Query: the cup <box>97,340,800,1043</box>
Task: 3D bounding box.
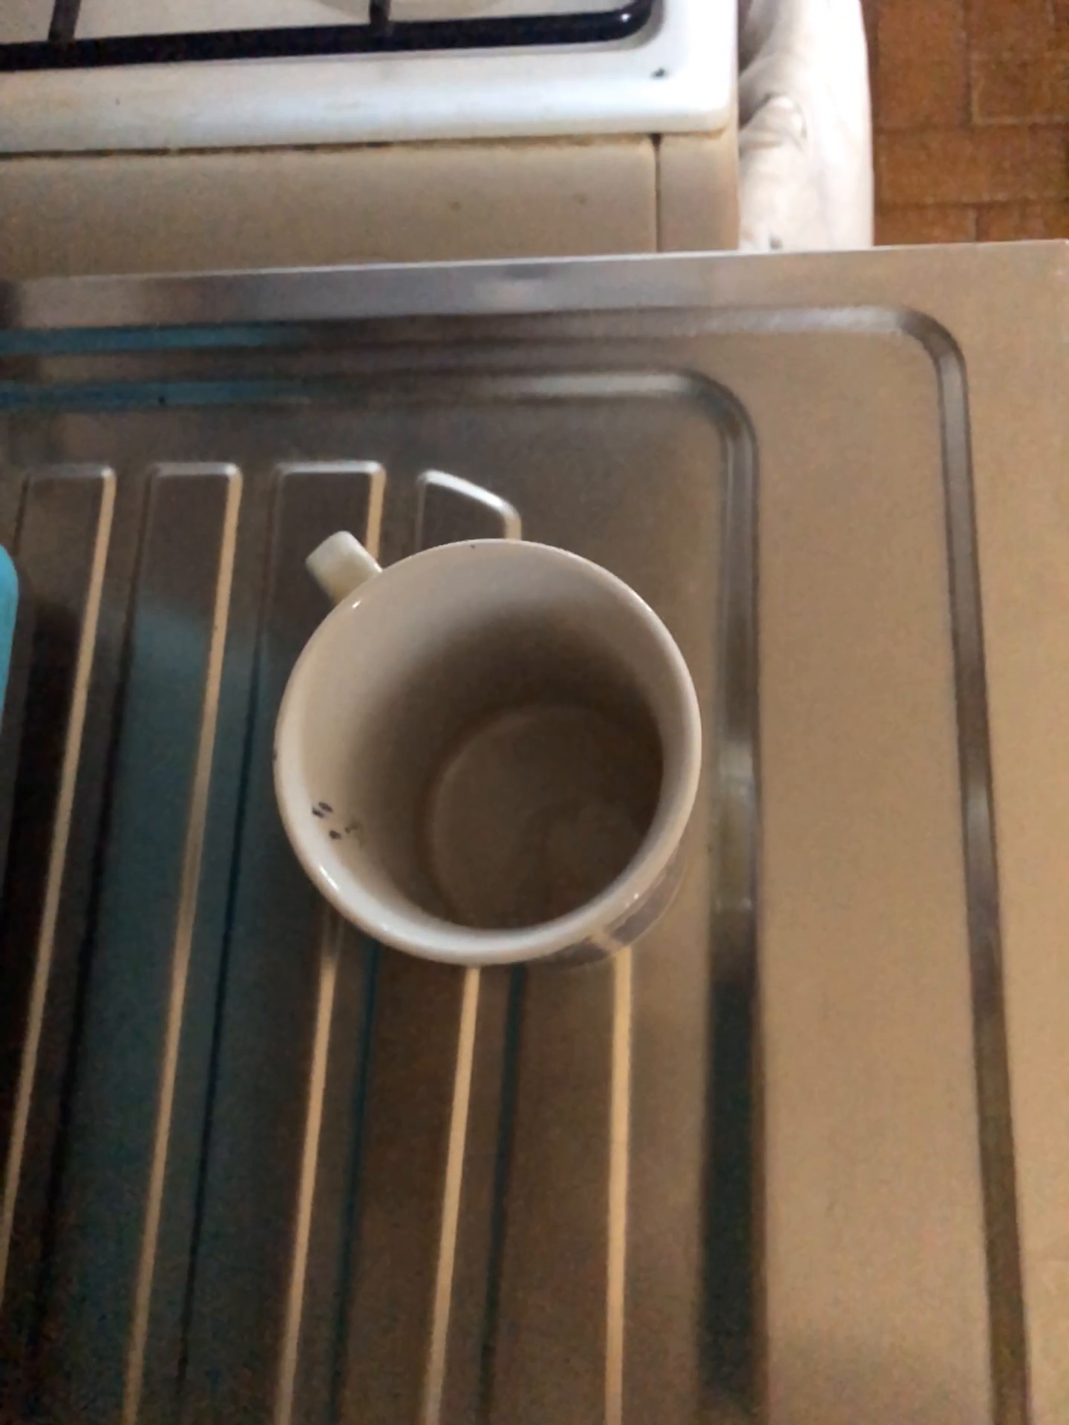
[{"bbox_3d":[-0.013,0.004,0.256,0.070,0.100,0.110,-42,74,-6],"label":"cup"}]
